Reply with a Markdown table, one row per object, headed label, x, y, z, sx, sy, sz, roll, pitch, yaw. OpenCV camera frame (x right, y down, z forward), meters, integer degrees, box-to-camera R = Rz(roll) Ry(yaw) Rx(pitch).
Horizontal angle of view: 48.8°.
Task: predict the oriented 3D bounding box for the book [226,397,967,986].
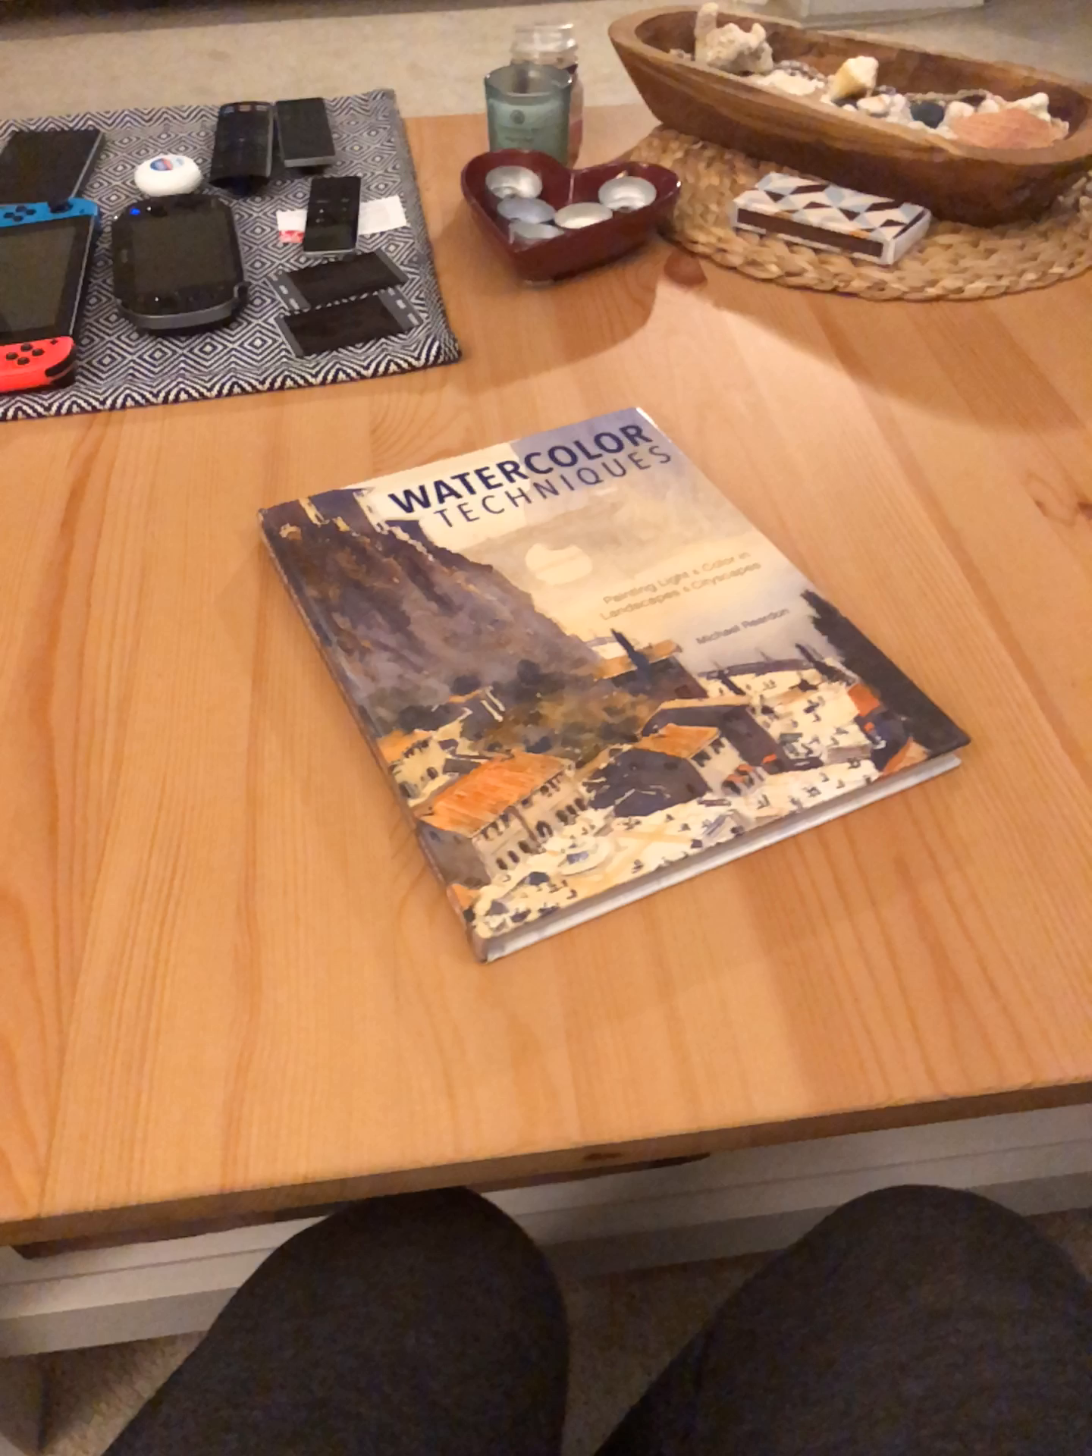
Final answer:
| label | x | y | z | sx | sy | sz | roll | pitch | yaw |
| --- | --- | --- | --- | --- | --- | --- | --- | --- | --- |
| book | 0.005 | -0.043 | 0.526 | 0.213 | 0.020 | 0.280 | -20 | 49 | -18 |
